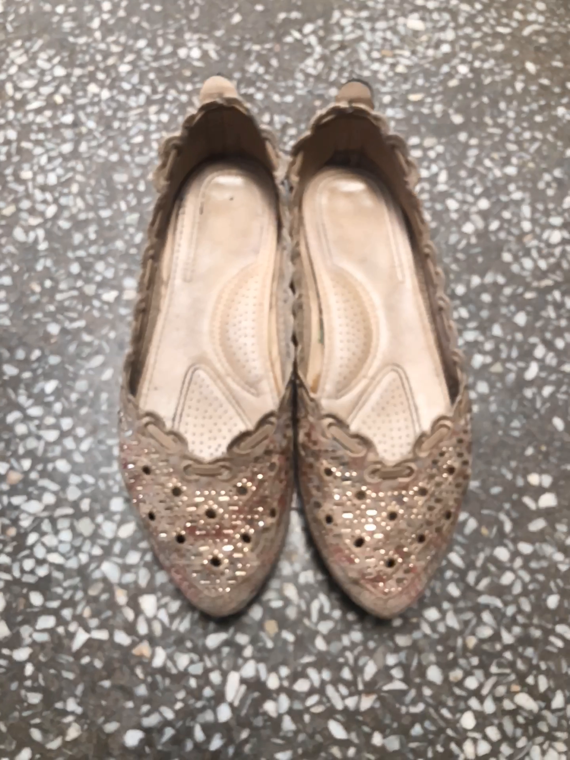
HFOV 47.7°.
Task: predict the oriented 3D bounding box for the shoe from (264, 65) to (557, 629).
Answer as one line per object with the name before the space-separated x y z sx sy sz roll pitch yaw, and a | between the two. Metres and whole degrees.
shoe | 0.044 -0.022 0.308 0.089 0.068 0.255 -4 71 -4

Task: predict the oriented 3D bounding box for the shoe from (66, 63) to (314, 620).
shoe | -0.038 -0.023 0.307 0.089 0.068 0.255 0 71 -3
